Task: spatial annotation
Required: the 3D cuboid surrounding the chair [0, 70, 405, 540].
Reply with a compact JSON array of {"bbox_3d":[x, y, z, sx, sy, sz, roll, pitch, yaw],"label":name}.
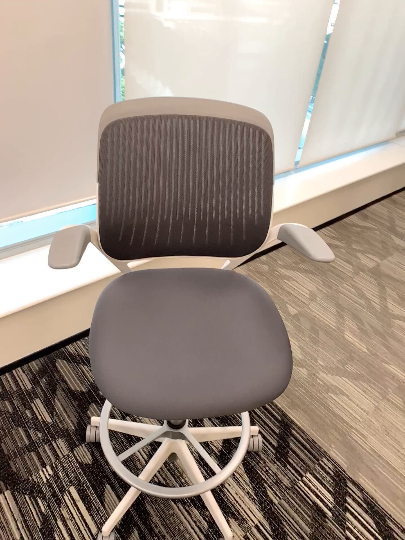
[{"bbox_3d":[-0.101,0.197,1.094,0.690,1.140,0.696,1,37,-7],"label":"chair"}]
